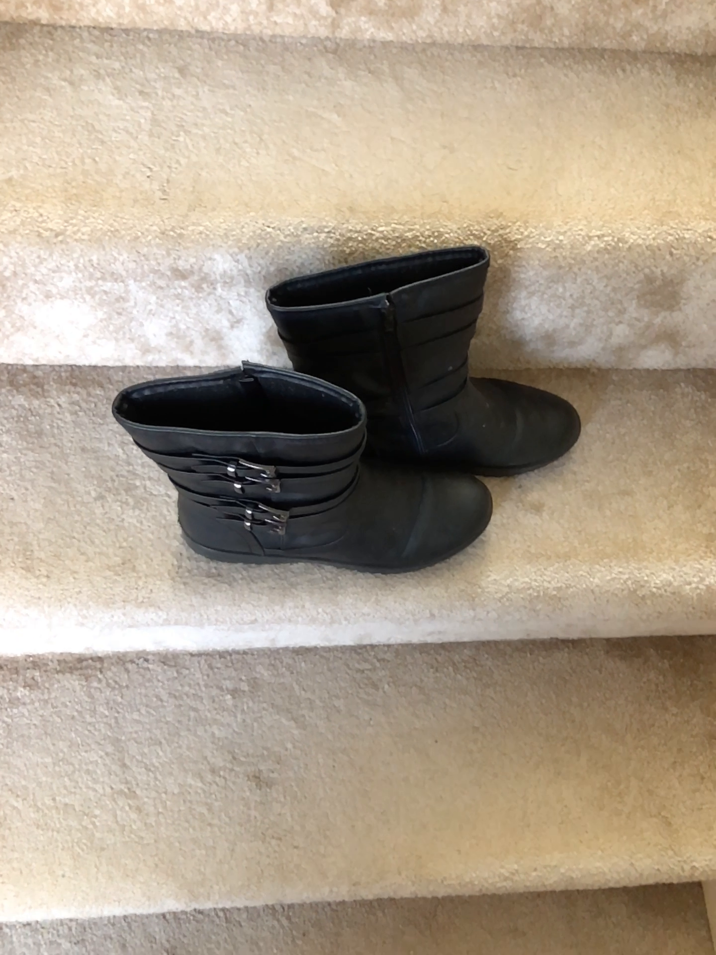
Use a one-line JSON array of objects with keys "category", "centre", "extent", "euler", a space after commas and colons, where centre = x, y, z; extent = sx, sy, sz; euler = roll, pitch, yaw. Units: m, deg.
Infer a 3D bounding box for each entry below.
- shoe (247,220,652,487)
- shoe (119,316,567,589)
[{"category": "shoe", "centre": [0.062, -0.090, 0.647], "extent": [0.270, 0.219, 0.100], "euler": [1, 62, 1]}, {"category": "shoe", "centre": [-0.014, -0.006, 0.585], "extent": [0.270, 0.199, 0.100], "euler": [4, 62, -4]}]
